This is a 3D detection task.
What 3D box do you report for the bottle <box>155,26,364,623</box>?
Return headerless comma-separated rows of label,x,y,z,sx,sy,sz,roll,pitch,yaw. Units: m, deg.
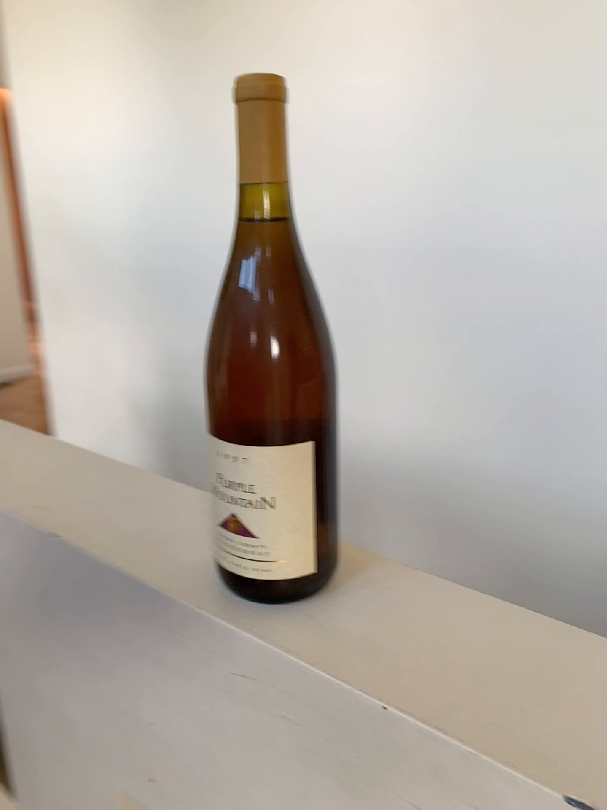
bottle,-0.019,-0.037,0.378,0.080,0.309,0.080,-1,16,0
